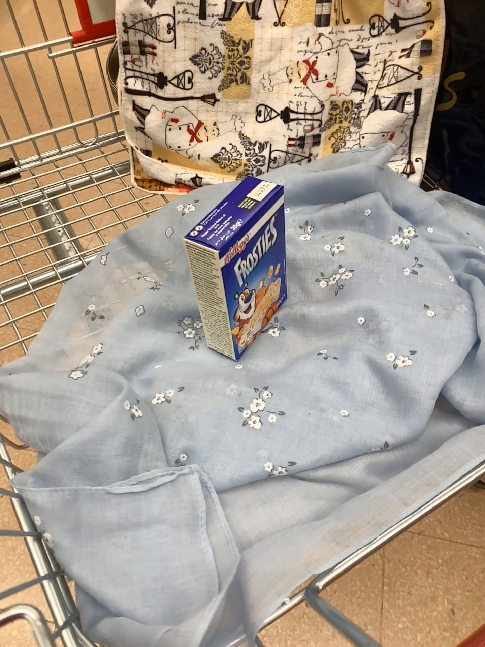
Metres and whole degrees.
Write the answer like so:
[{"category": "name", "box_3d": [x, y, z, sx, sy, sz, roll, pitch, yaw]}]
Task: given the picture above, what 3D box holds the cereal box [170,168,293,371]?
[{"category": "cereal box", "box_3d": [-0.001, -0.042, 0.414, 0.040, 0.129, 0.101, 24, 57, 24]}]
